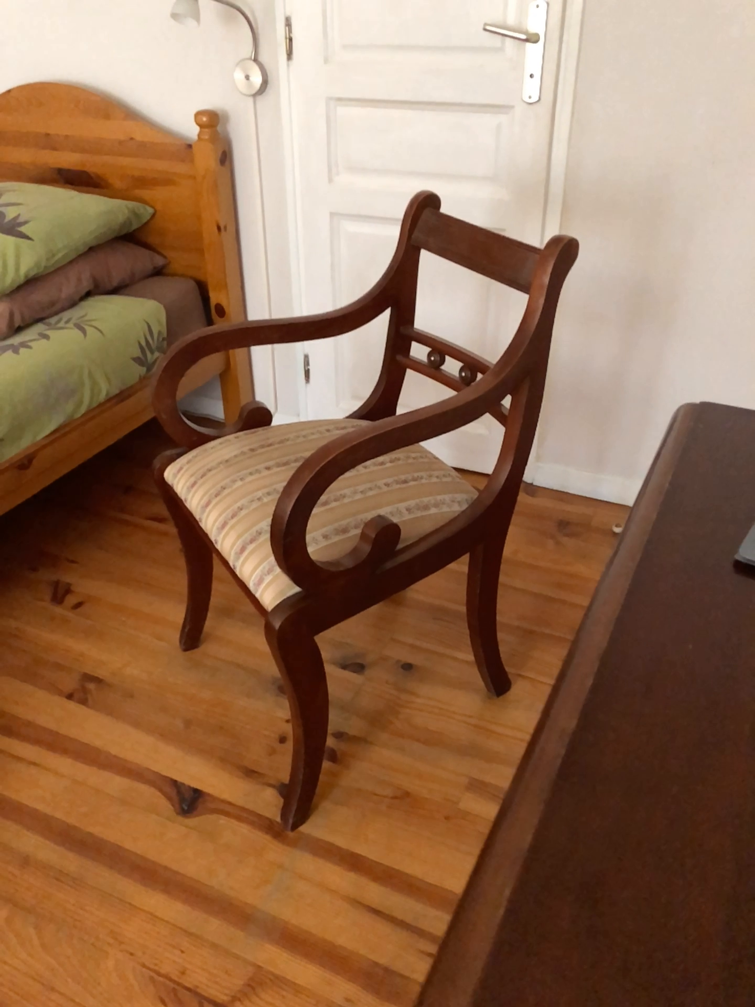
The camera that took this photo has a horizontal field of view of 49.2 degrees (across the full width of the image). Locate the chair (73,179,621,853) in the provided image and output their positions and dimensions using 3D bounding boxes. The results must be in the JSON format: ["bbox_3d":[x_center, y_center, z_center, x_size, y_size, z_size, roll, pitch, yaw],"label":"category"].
[{"bbox_3d":[-0.077,-0.033,1.366,0.572,0.825,0.582,-15,34,-24],"label":"chair"}]
